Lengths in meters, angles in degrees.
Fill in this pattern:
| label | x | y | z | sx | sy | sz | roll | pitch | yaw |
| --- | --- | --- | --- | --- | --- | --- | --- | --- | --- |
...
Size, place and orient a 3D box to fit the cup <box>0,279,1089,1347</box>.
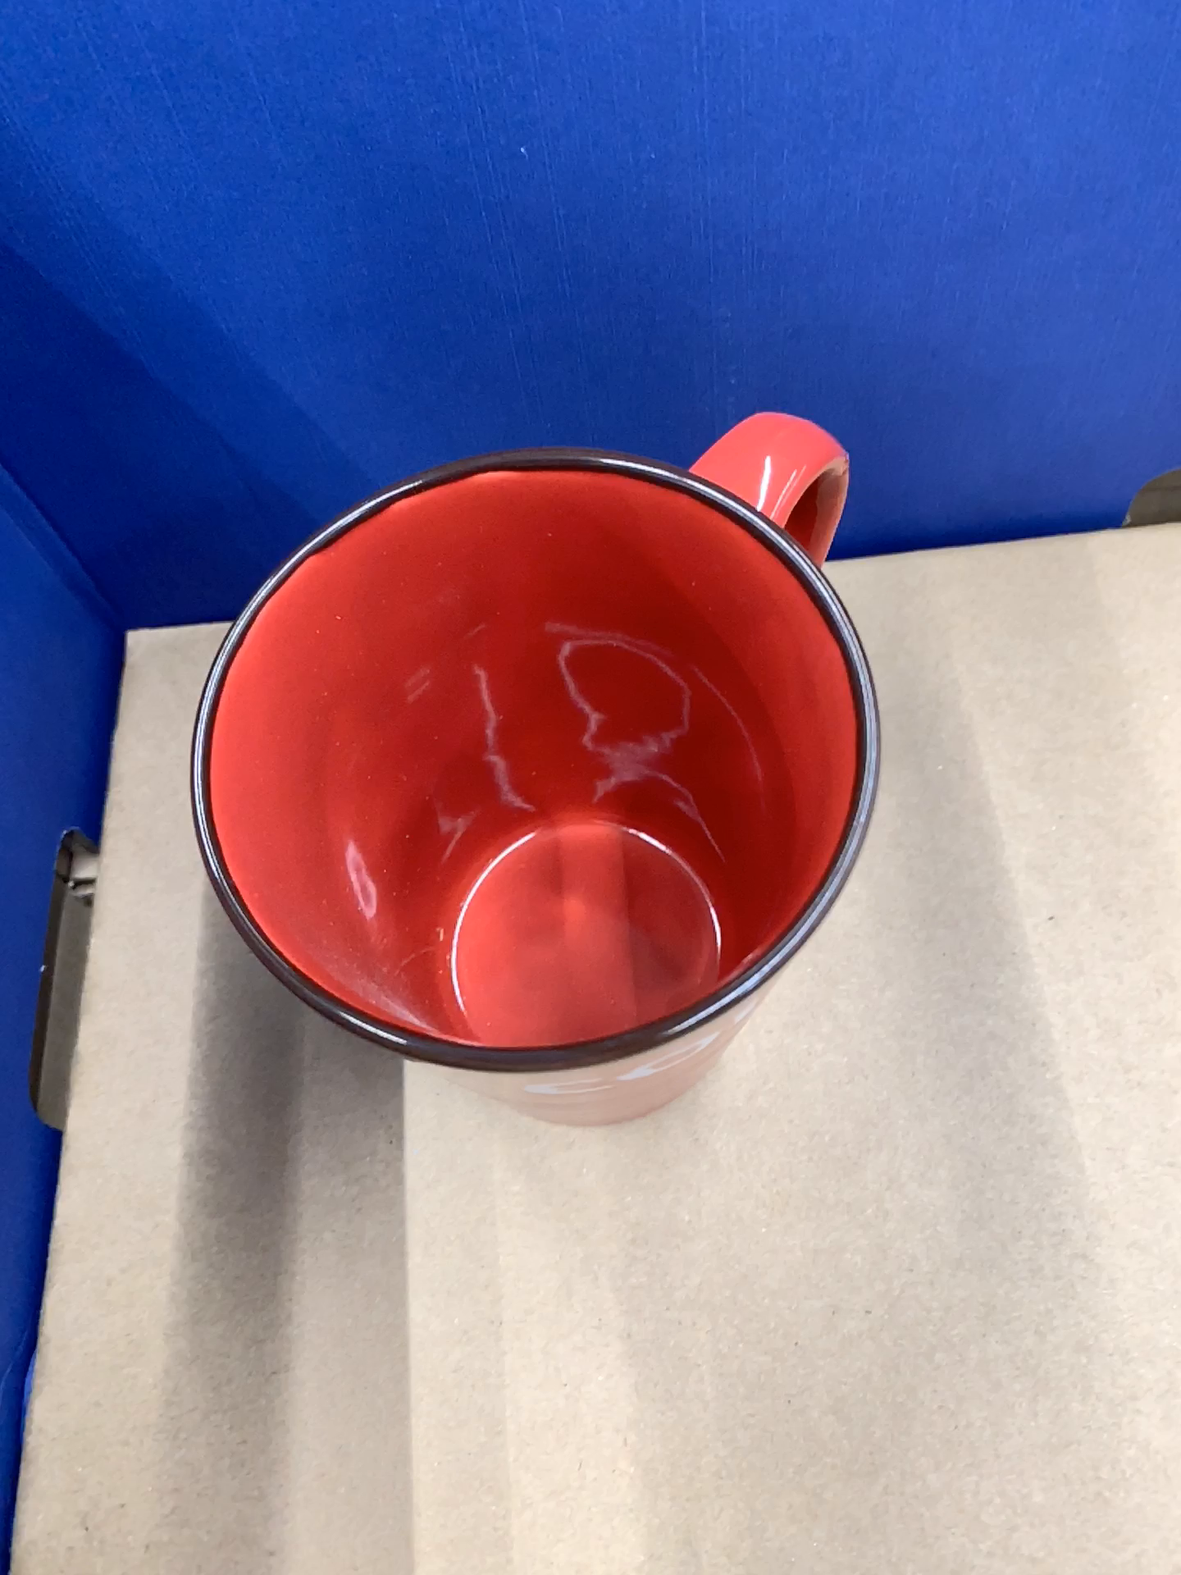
| label | x | y | z | sx | sy | sz | roll | pitch | yaw |
| --- | --- | --- | --- | --- | --- | --- | --- | --- | --- |
| cup | -0.001 | 0.005 | 0.212 | 0.100 | 0.092 | 0.125 | 30 | 69 | 21 |
